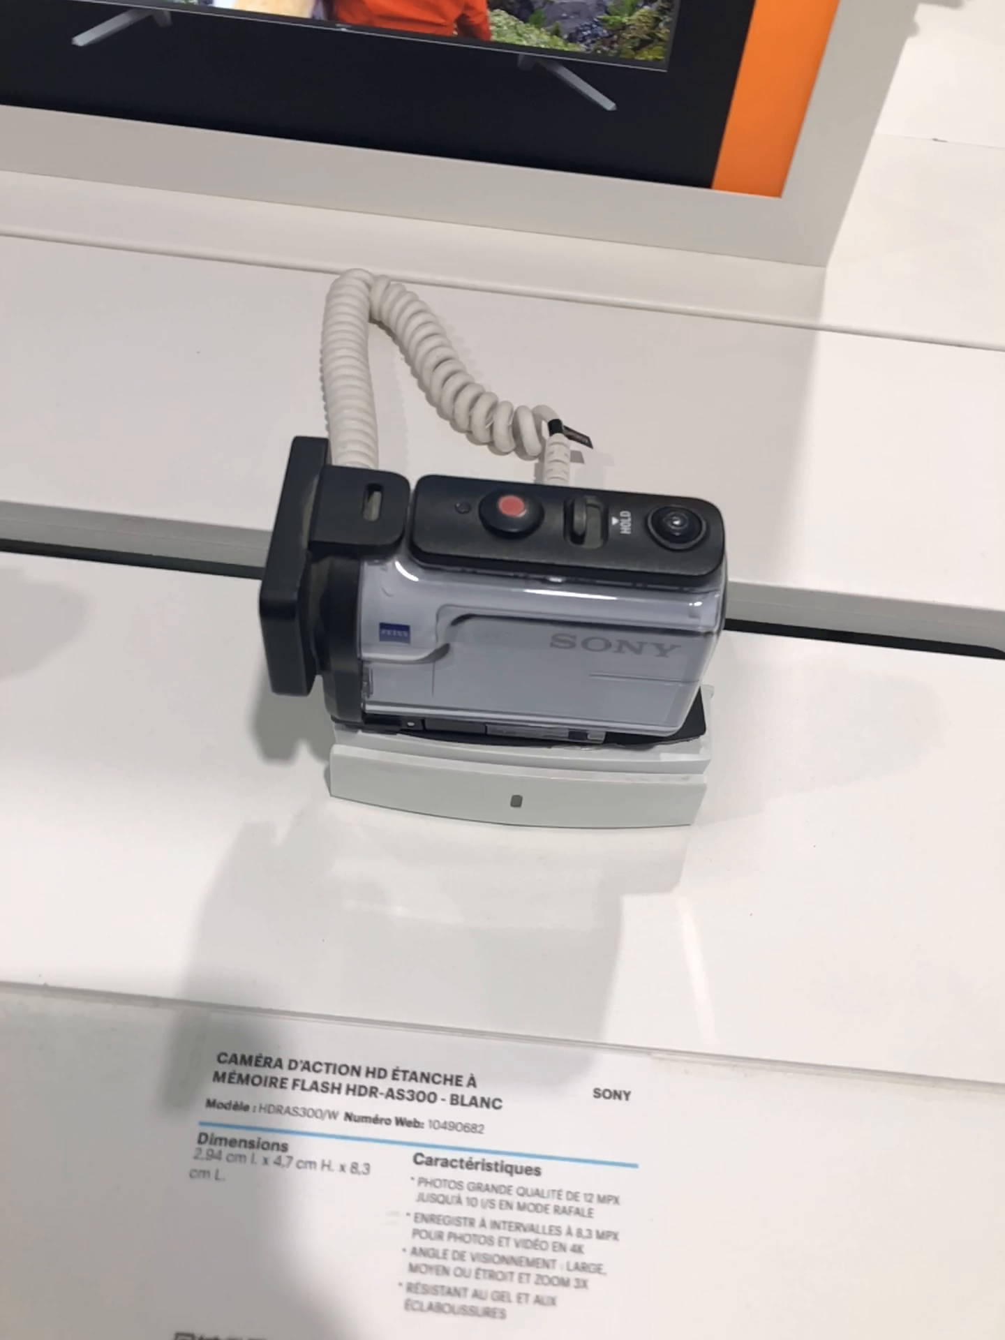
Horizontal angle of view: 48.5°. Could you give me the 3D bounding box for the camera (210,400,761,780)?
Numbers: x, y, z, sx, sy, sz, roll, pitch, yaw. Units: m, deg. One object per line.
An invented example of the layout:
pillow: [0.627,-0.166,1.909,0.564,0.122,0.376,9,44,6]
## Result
camera: [-0.003,-0.015,0.219,0.093,0.044,0.050,5,52,-1]
